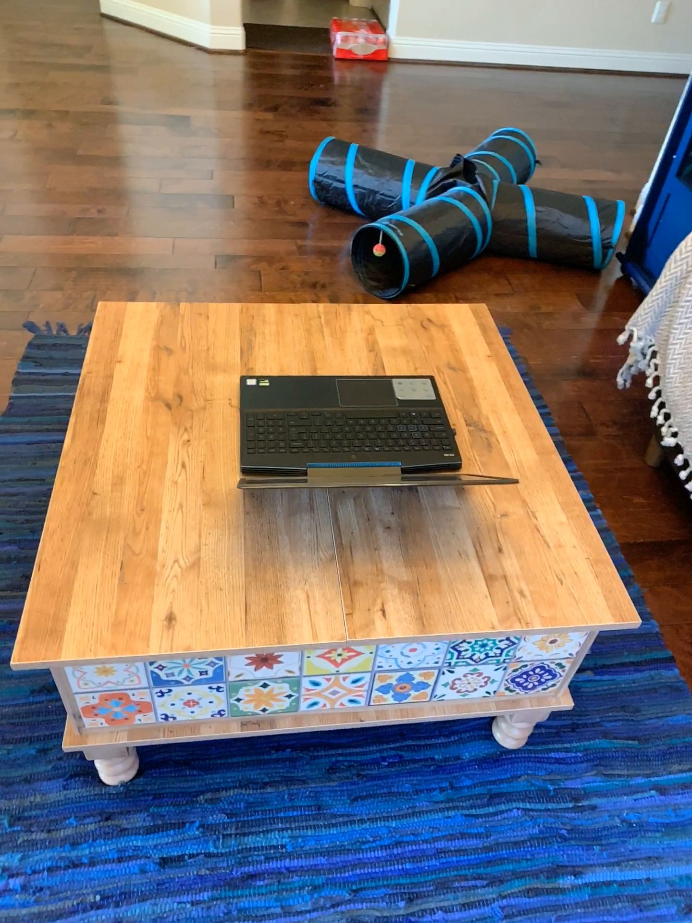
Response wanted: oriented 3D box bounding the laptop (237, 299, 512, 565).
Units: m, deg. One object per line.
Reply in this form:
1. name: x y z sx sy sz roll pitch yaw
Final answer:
1. laptop: 0.011 -0.064 1.076 0.345 0.156 0.420 -1 44 -8
